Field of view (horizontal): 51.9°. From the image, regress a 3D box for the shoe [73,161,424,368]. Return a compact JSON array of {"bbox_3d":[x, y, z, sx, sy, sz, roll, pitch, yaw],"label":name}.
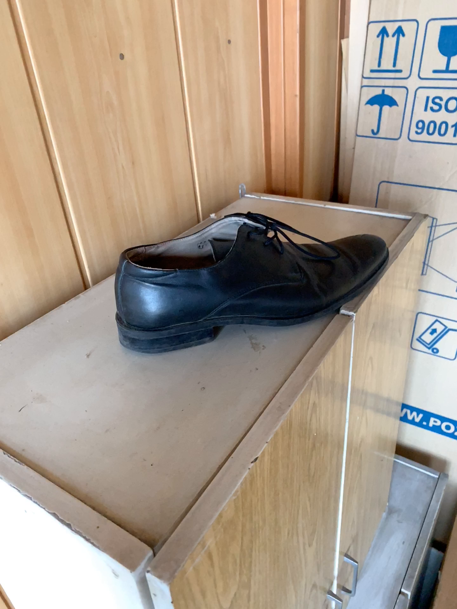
[{"bbox_3d":[0.018,-0.057,0.467,0.300,0.089,0.141,-16,33,-18],"label":"shoe"}]
